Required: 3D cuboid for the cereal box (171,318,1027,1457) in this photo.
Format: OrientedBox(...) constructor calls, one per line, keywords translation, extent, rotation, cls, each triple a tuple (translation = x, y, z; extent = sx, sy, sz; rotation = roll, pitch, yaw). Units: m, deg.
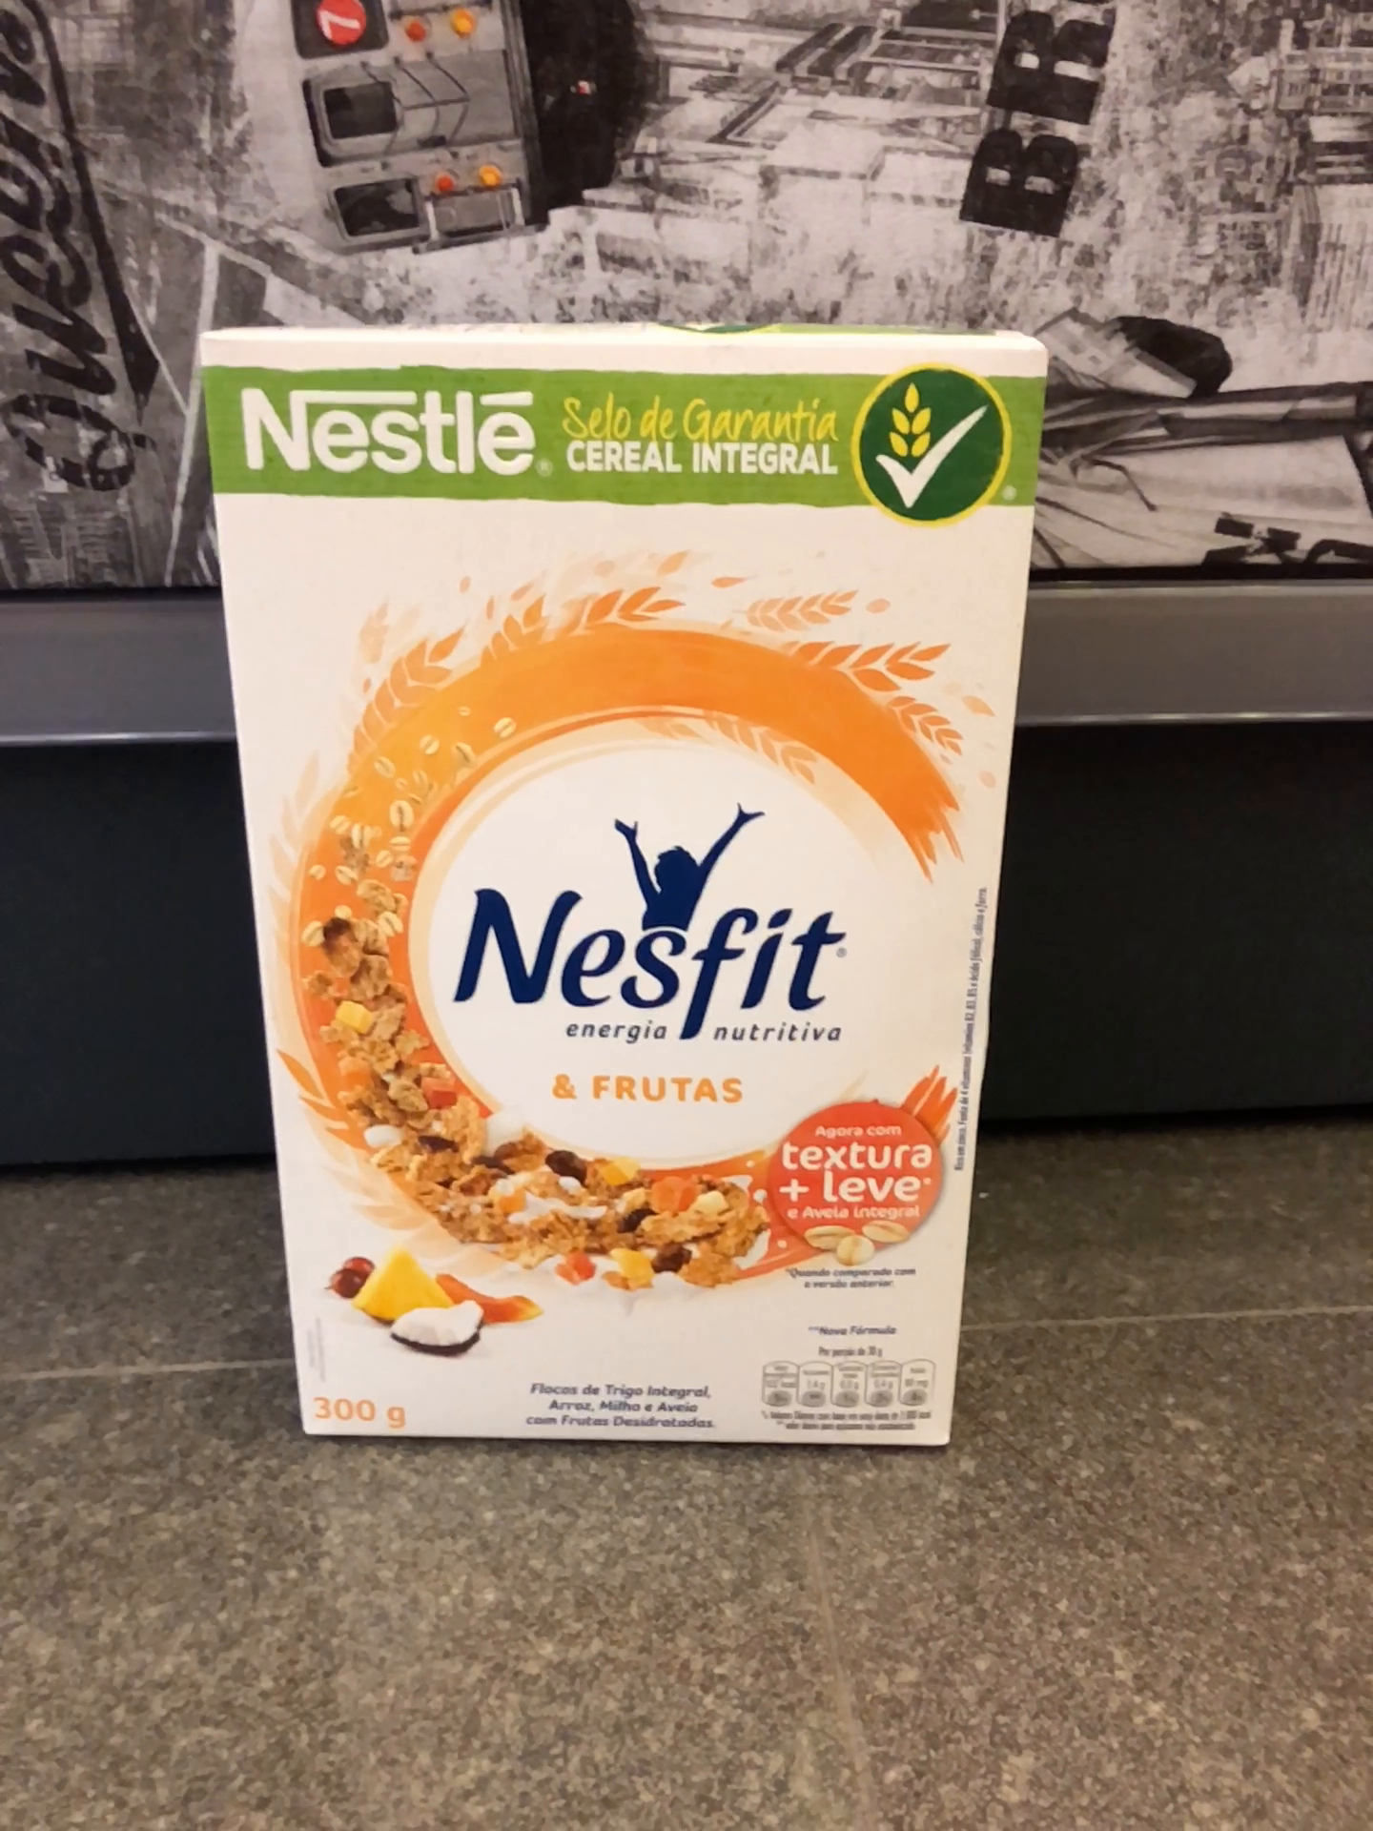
OrientedBox(translation=(-0.015, -0.001, 0.345), extent=(0.150, 0.248, 0.070), rotation=(0, 22, 1), cls="cereal box")
